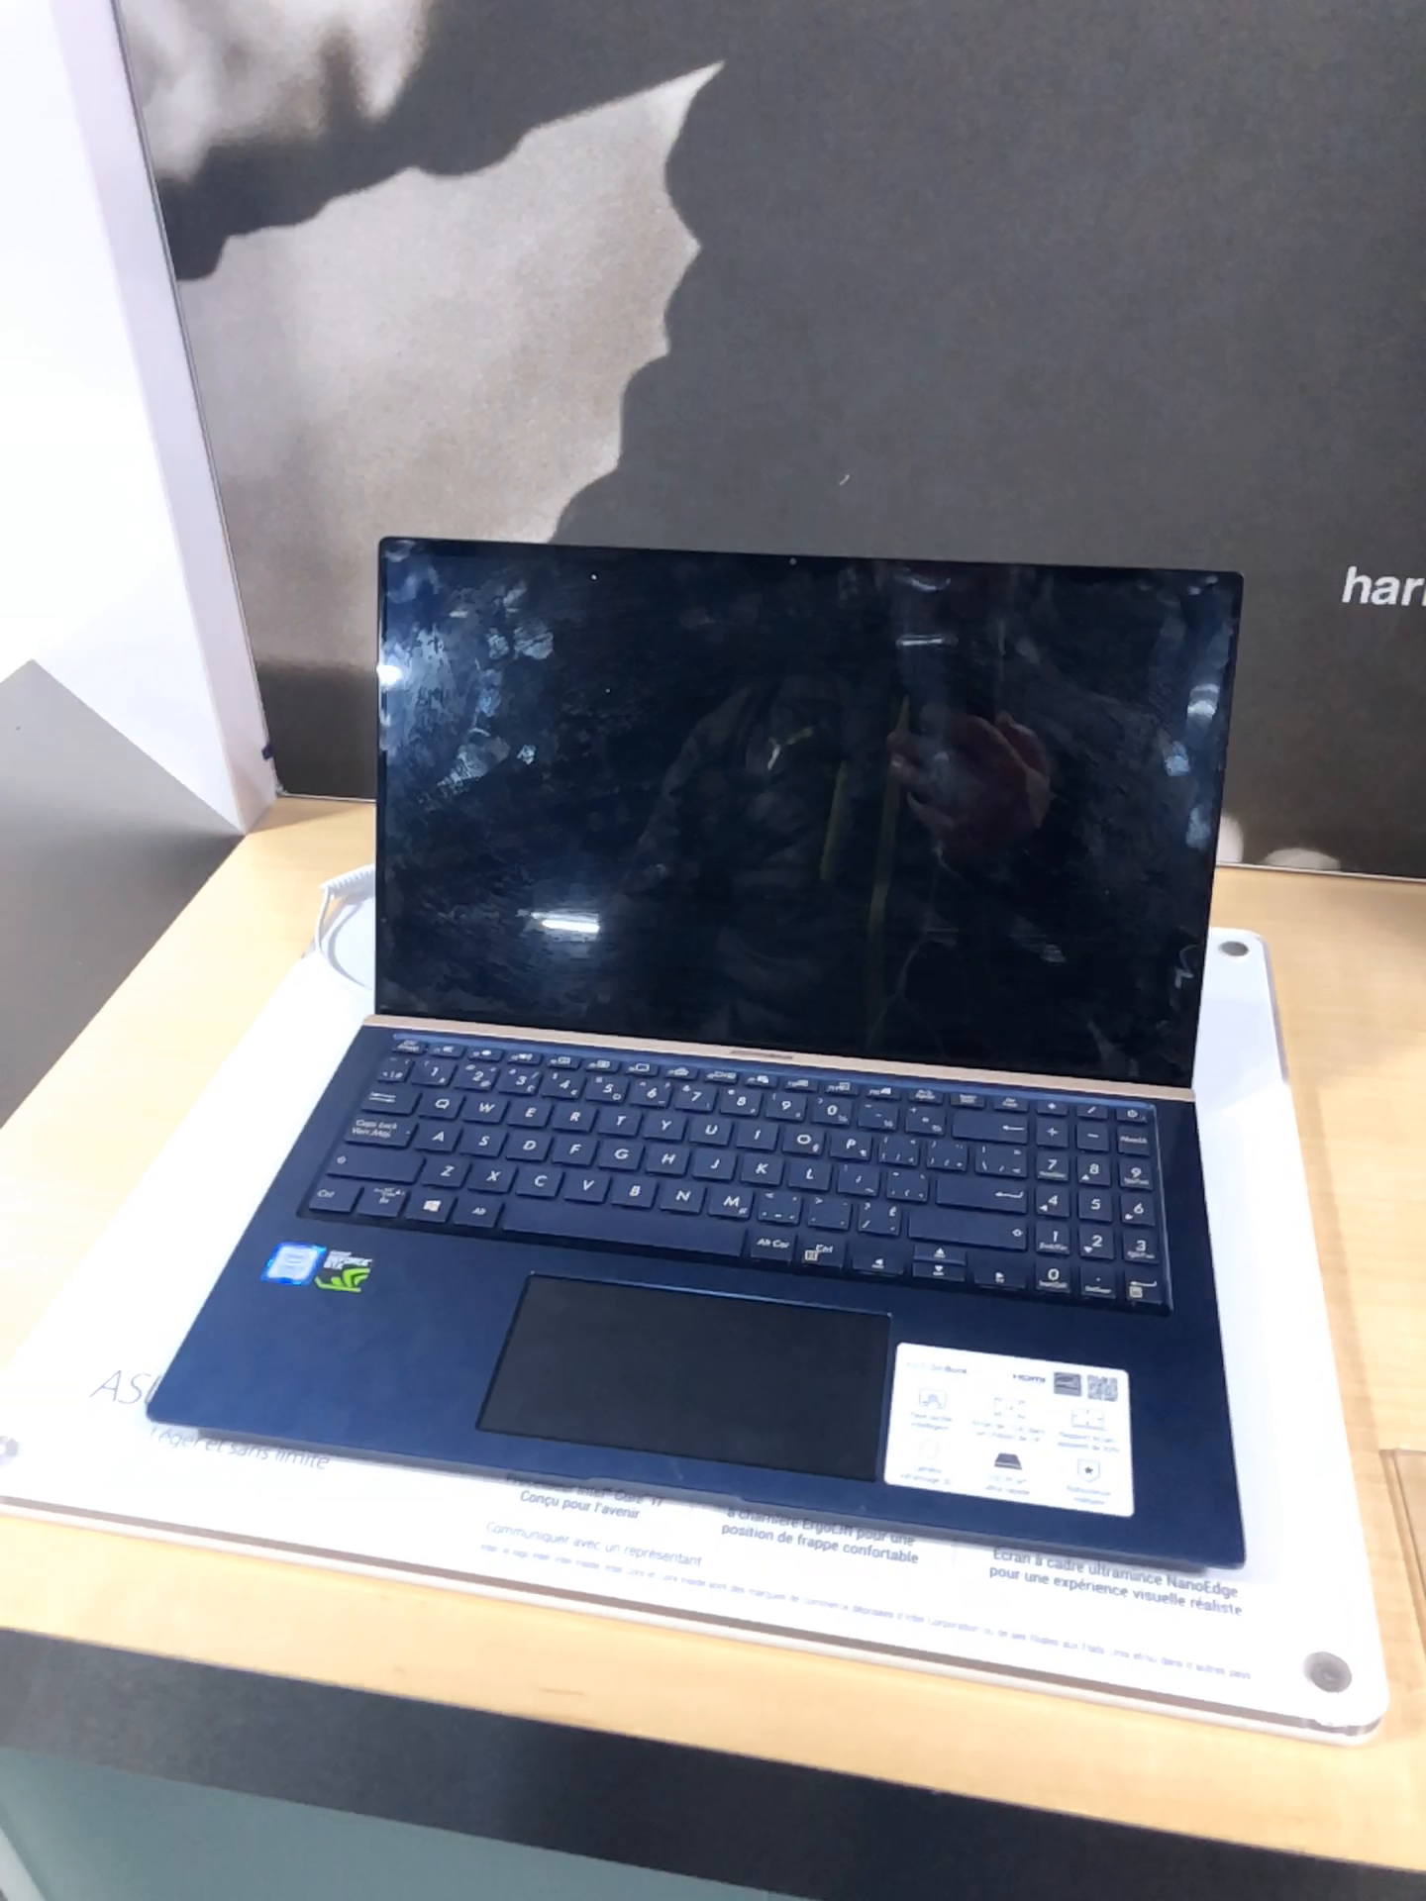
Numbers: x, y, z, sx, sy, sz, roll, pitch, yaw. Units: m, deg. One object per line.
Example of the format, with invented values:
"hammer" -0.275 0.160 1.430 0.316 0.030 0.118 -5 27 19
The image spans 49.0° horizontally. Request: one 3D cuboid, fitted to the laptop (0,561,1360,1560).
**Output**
"laptop" 0.010 0.006 0.537 0.330 0.173 0.294 4 35 10
